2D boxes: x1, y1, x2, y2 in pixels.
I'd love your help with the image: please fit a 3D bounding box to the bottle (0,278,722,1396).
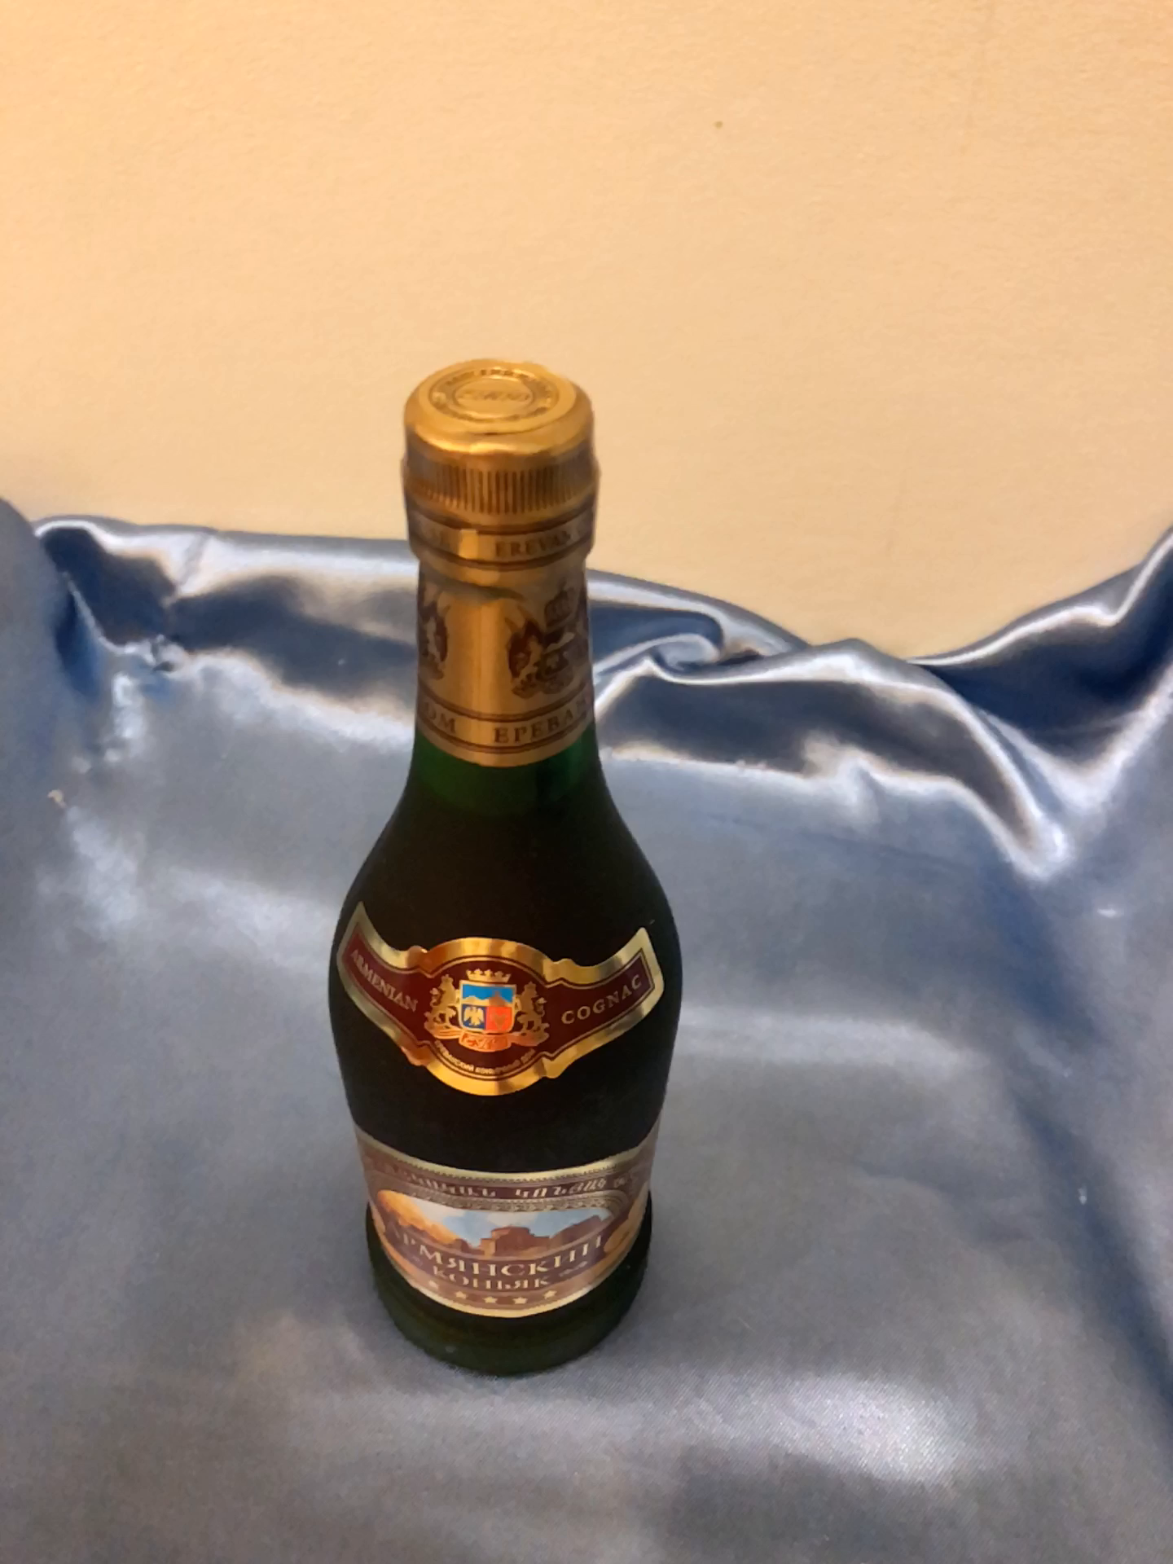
[{"bbox_3d":[-0.022,0.038,0.256,0.080,0.247,0.074,-1,47,1],"label":"bottle"}]
